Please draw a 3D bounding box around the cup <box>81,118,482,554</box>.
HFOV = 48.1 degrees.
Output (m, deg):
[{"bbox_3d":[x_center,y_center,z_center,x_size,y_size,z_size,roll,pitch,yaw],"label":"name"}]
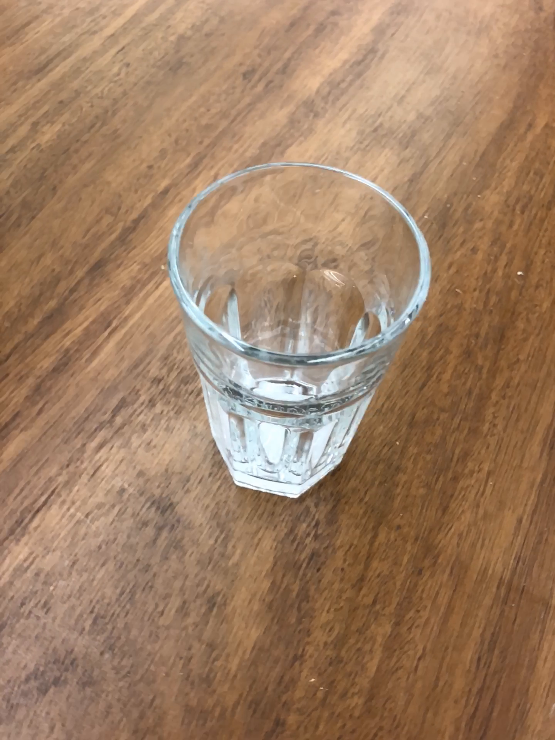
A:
[{"bbox_3d":[0.001,-0.005,0.194,0.070,0.096,0.072,1,59,-2],"label":"cup"}]
